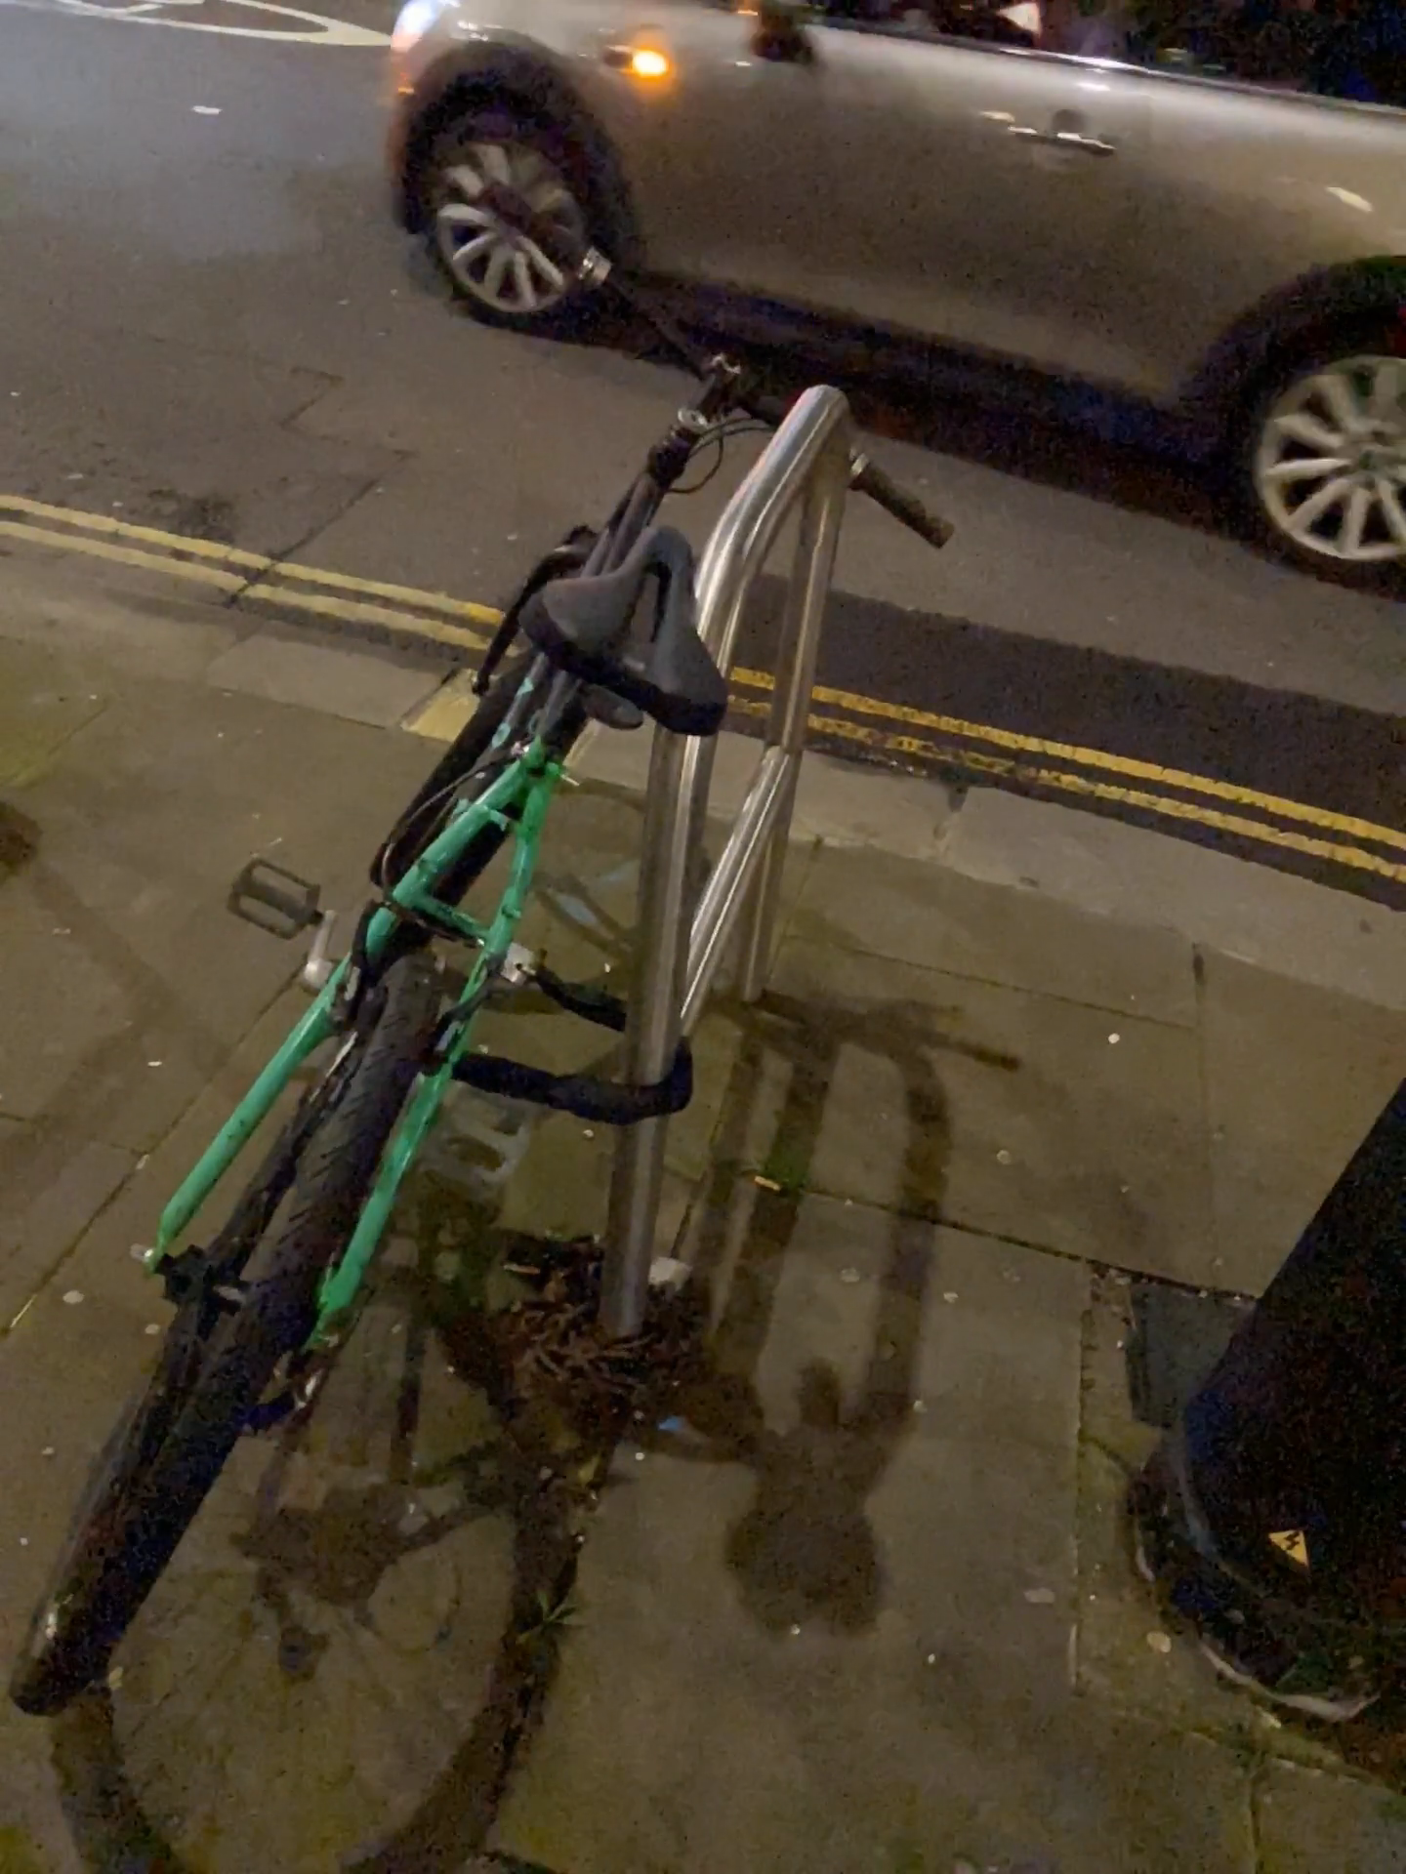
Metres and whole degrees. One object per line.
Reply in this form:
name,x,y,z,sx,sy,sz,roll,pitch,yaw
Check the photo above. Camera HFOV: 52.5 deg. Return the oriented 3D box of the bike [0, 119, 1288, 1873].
bike,-0.034,-0.128,1.519,0.638,1.014,1.697,9,38,2
